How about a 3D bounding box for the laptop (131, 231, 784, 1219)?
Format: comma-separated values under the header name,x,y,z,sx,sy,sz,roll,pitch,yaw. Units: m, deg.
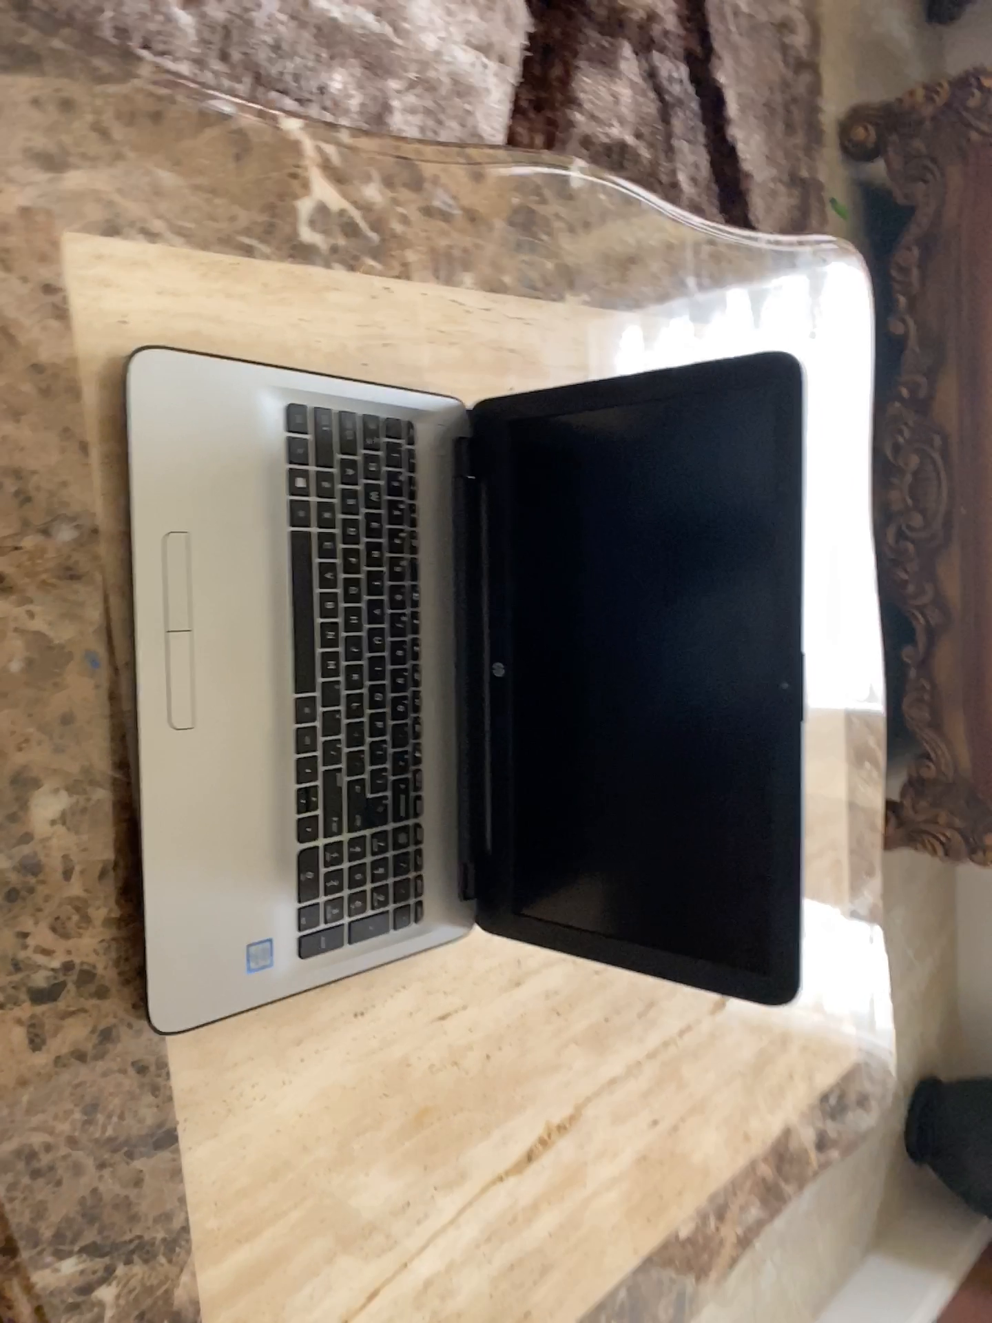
name,x,y,z,sx,sy,sz,roll,pitch,yaw
laptop,-0.014,0.019,0.558,0.266,0.240,0.371,-5,96,-46
